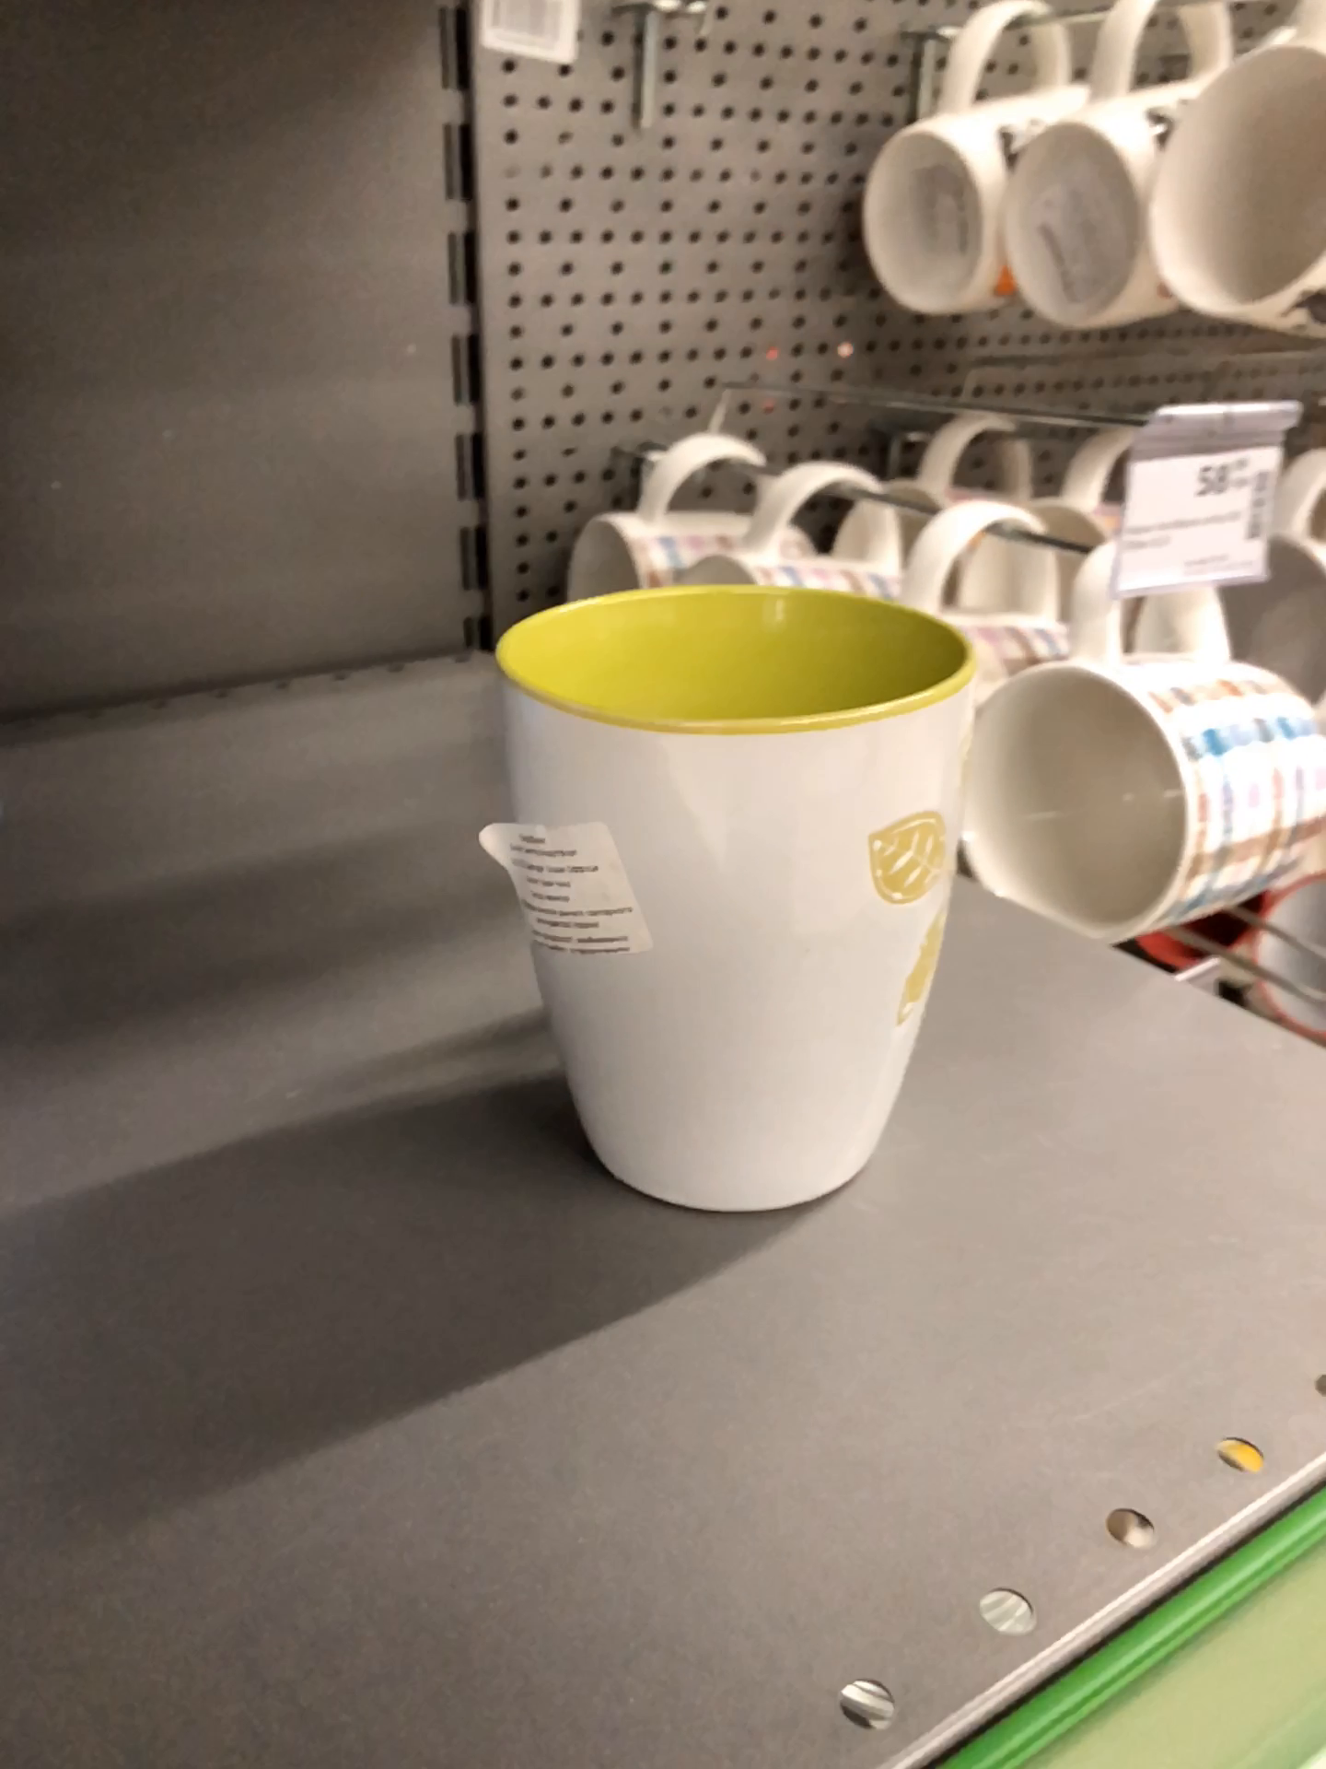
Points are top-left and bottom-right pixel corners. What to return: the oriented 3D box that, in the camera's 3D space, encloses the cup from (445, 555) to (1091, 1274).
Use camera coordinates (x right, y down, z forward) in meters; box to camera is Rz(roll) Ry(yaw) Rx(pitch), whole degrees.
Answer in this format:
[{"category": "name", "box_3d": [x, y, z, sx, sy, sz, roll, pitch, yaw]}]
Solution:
[{"category": "cup", "box_3d": [0.014, -0.003, 0.290, 0.094, 0.095, 0.127, 0, 24, -1]}]
